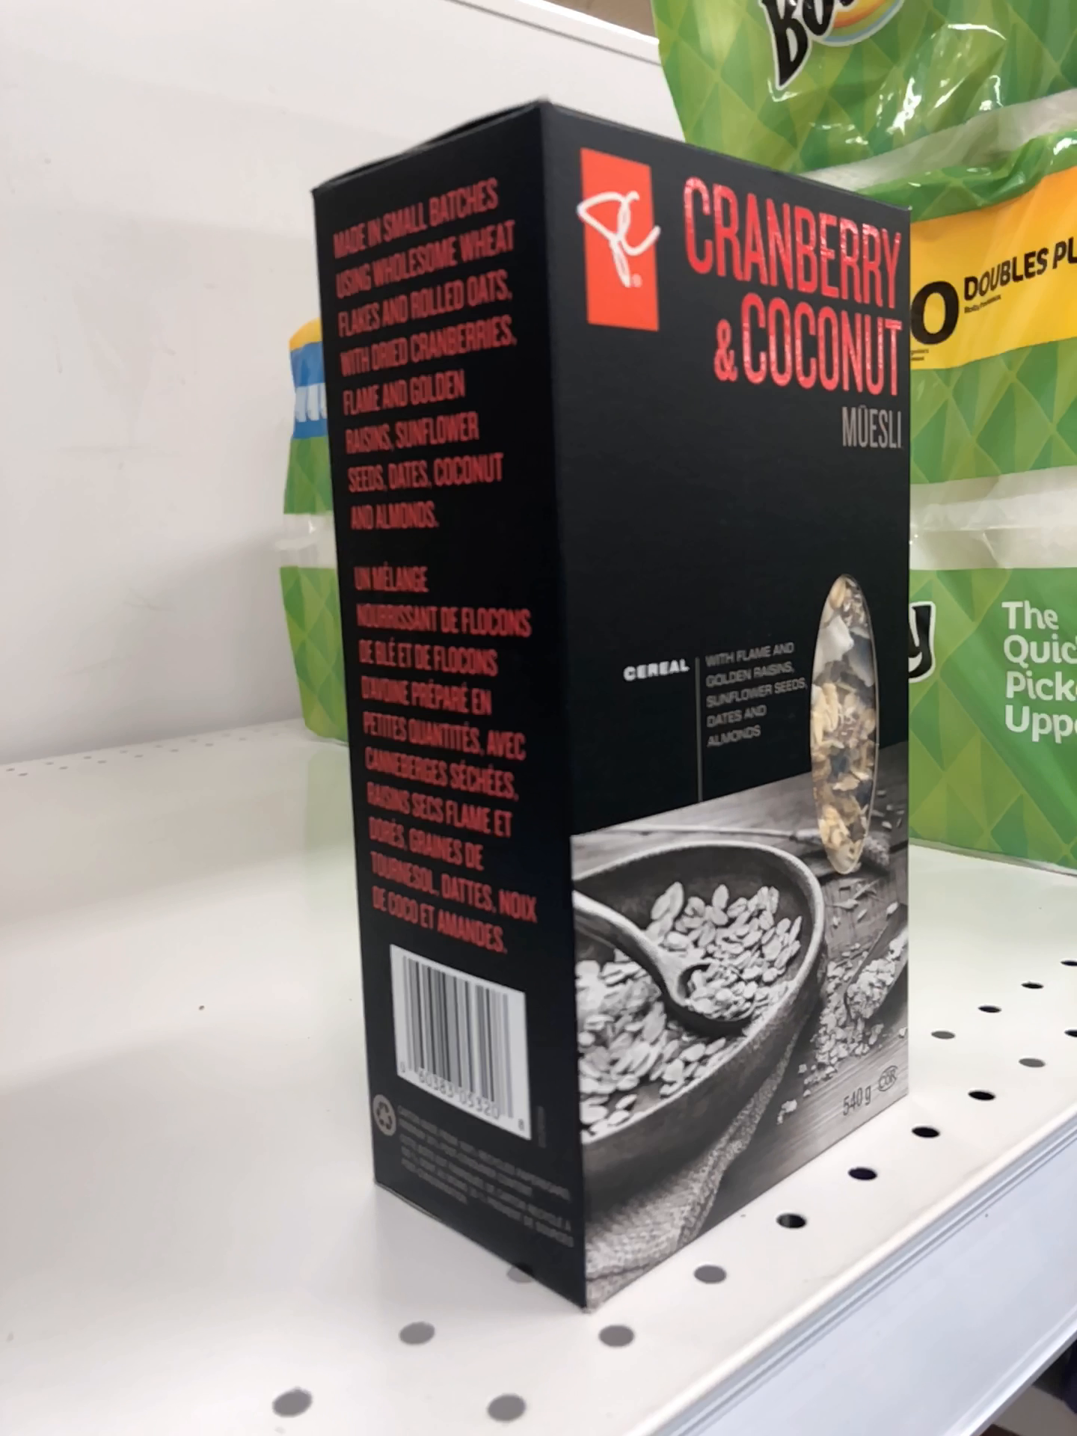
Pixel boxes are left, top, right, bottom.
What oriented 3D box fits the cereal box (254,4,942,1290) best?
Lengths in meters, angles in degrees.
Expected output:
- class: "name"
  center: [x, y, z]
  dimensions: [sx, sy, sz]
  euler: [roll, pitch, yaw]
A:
- class: "cereal box"
  center: [0.021, -0.015, 0.251]
  dimensions: [0.120, 0.200, 0.070]
  euler: [-11, 11, -43]
